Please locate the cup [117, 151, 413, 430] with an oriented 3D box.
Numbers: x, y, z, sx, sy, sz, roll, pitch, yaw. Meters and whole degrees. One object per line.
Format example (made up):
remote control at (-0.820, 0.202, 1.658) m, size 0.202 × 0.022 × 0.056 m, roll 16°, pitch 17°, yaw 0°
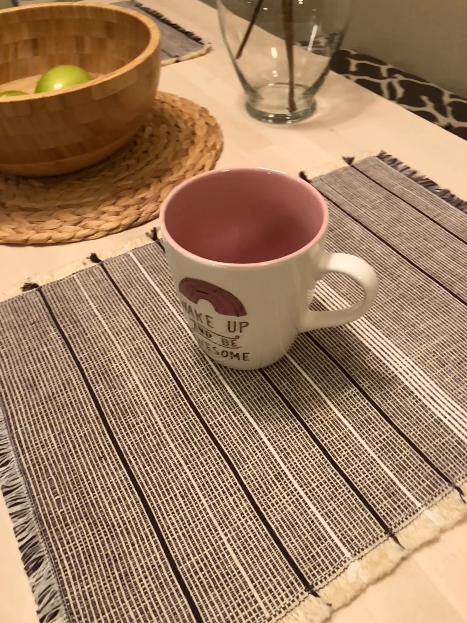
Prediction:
cup at (0.027, -0.021, 0.379) m, size 0.160 × 0.119 × 0.121 m, roll 17°, pitch 49°, yaw 18°
